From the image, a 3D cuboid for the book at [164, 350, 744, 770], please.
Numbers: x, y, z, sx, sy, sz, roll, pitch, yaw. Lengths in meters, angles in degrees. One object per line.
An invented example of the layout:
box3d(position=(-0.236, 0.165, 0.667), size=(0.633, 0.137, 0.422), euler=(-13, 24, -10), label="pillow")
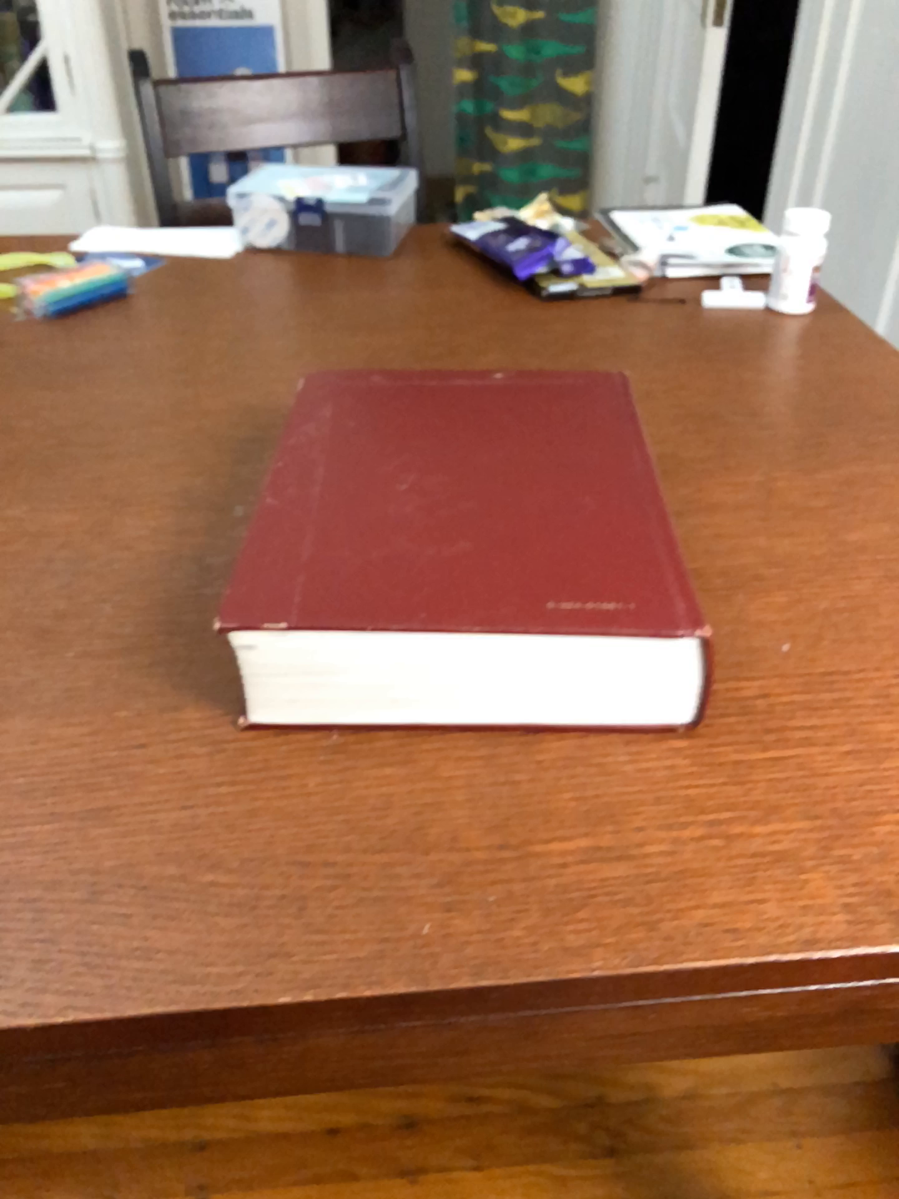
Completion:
box3d(position=(0.004, -0.042, 0.518), size=(0.220, 0.070, 0.292), euler=(1, 35, 1), label="book")
